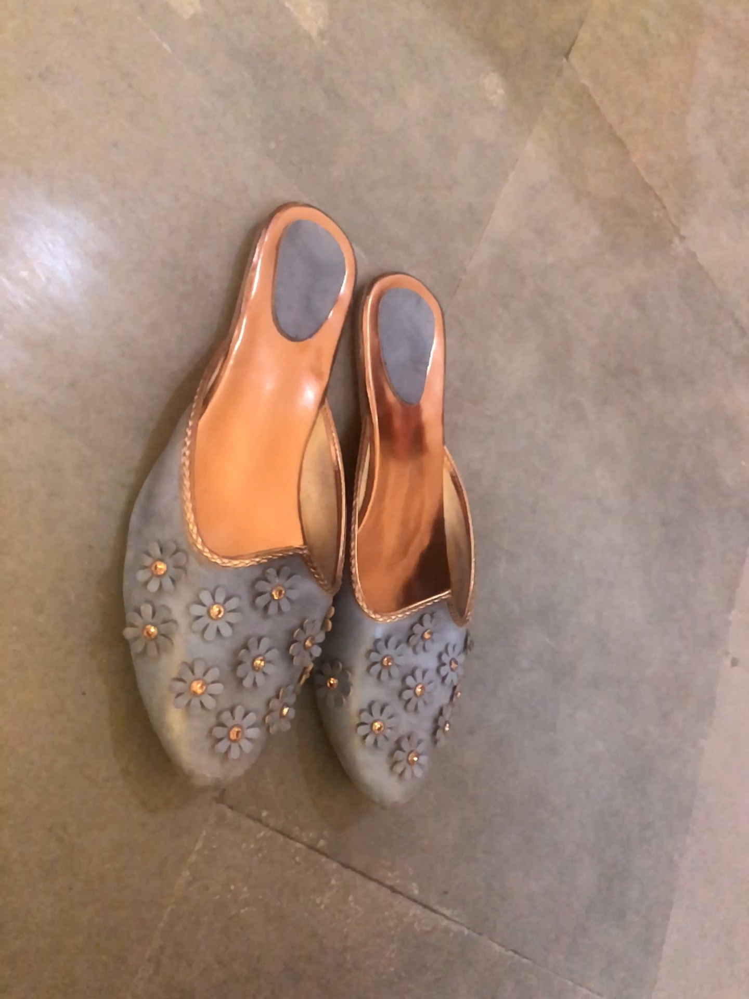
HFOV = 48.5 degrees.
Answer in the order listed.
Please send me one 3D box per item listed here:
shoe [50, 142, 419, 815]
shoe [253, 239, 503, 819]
[{"bbox_3d":[-0.052,-0.009,0.371,0.100,0.050,0.270,22,70,-38],"label":"shoe"},{"bbox_3d":[0.008,0.016,0.430,0.100,0.050,0.270,15,75,-40],"label":"shoe"}]
